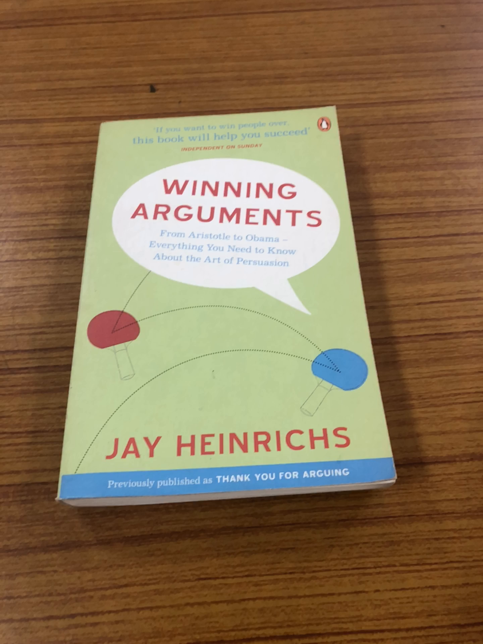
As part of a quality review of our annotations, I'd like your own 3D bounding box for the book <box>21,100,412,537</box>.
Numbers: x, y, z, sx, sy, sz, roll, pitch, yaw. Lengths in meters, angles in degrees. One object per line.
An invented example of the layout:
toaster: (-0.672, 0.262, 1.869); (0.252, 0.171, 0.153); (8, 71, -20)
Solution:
book: (-0.012, -0.015, 0.254); (0.140, 0.030, 0.210); (-2, 63, 0)
